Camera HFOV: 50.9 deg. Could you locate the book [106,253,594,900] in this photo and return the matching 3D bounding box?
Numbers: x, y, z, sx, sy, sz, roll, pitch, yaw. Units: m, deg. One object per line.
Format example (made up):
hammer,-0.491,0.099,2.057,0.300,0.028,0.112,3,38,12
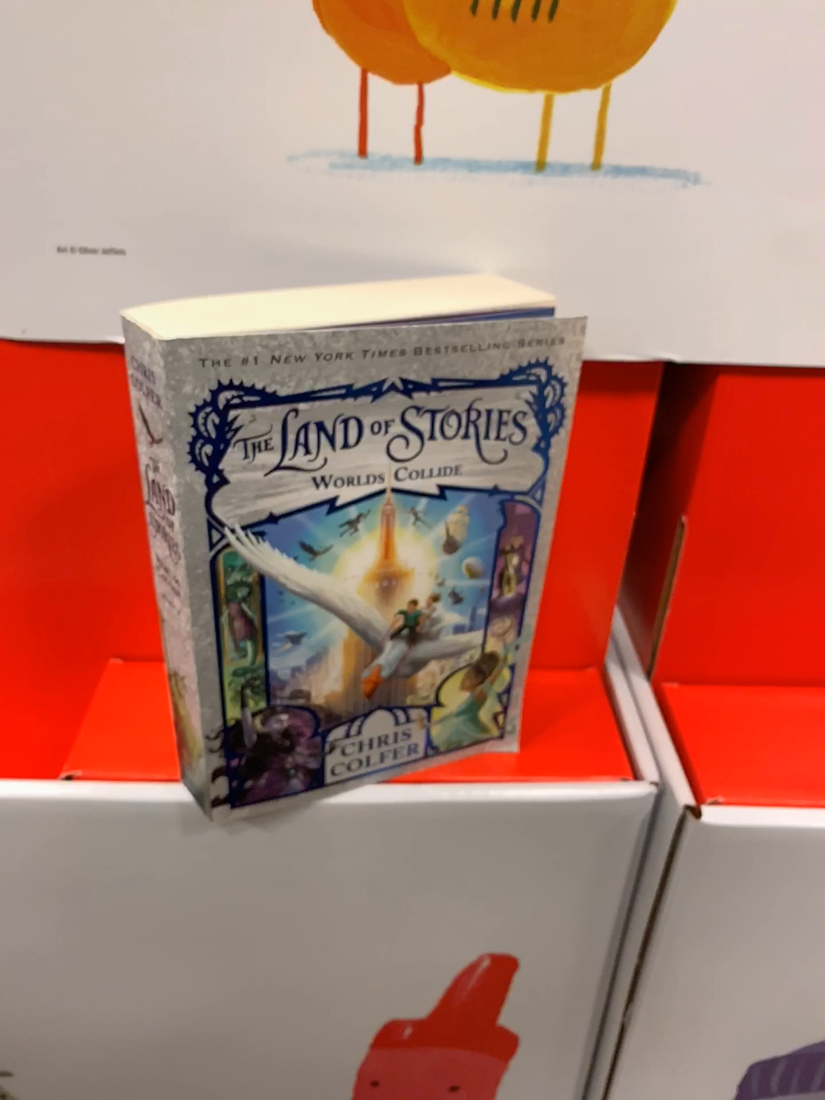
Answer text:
book,-0.018,0.008,0.307,0.130,0.193,0.065,-17,35,-28
